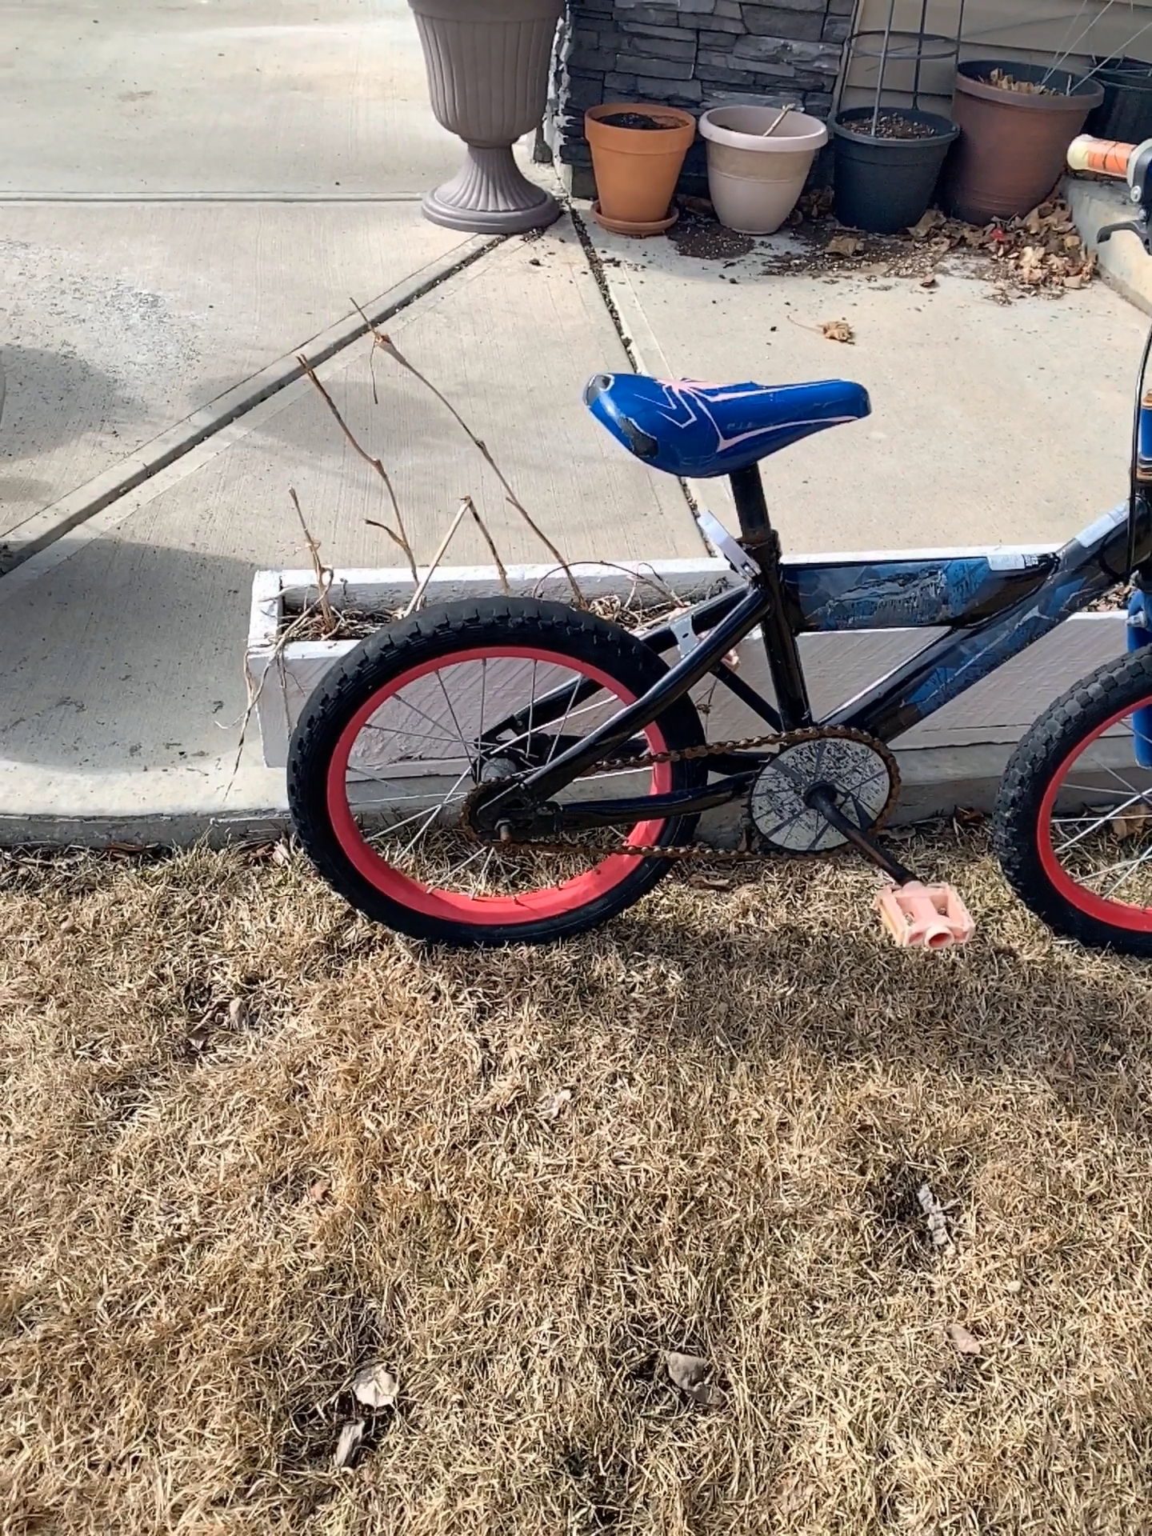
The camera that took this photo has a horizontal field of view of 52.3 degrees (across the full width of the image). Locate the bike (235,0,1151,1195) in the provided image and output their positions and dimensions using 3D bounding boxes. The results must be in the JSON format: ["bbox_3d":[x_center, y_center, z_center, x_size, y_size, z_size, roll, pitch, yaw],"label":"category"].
[{"bbox_3d":[0.281,-0.119,0.896,1.023,0.728,0.538,0,41,-1],"label":"bike"}]
